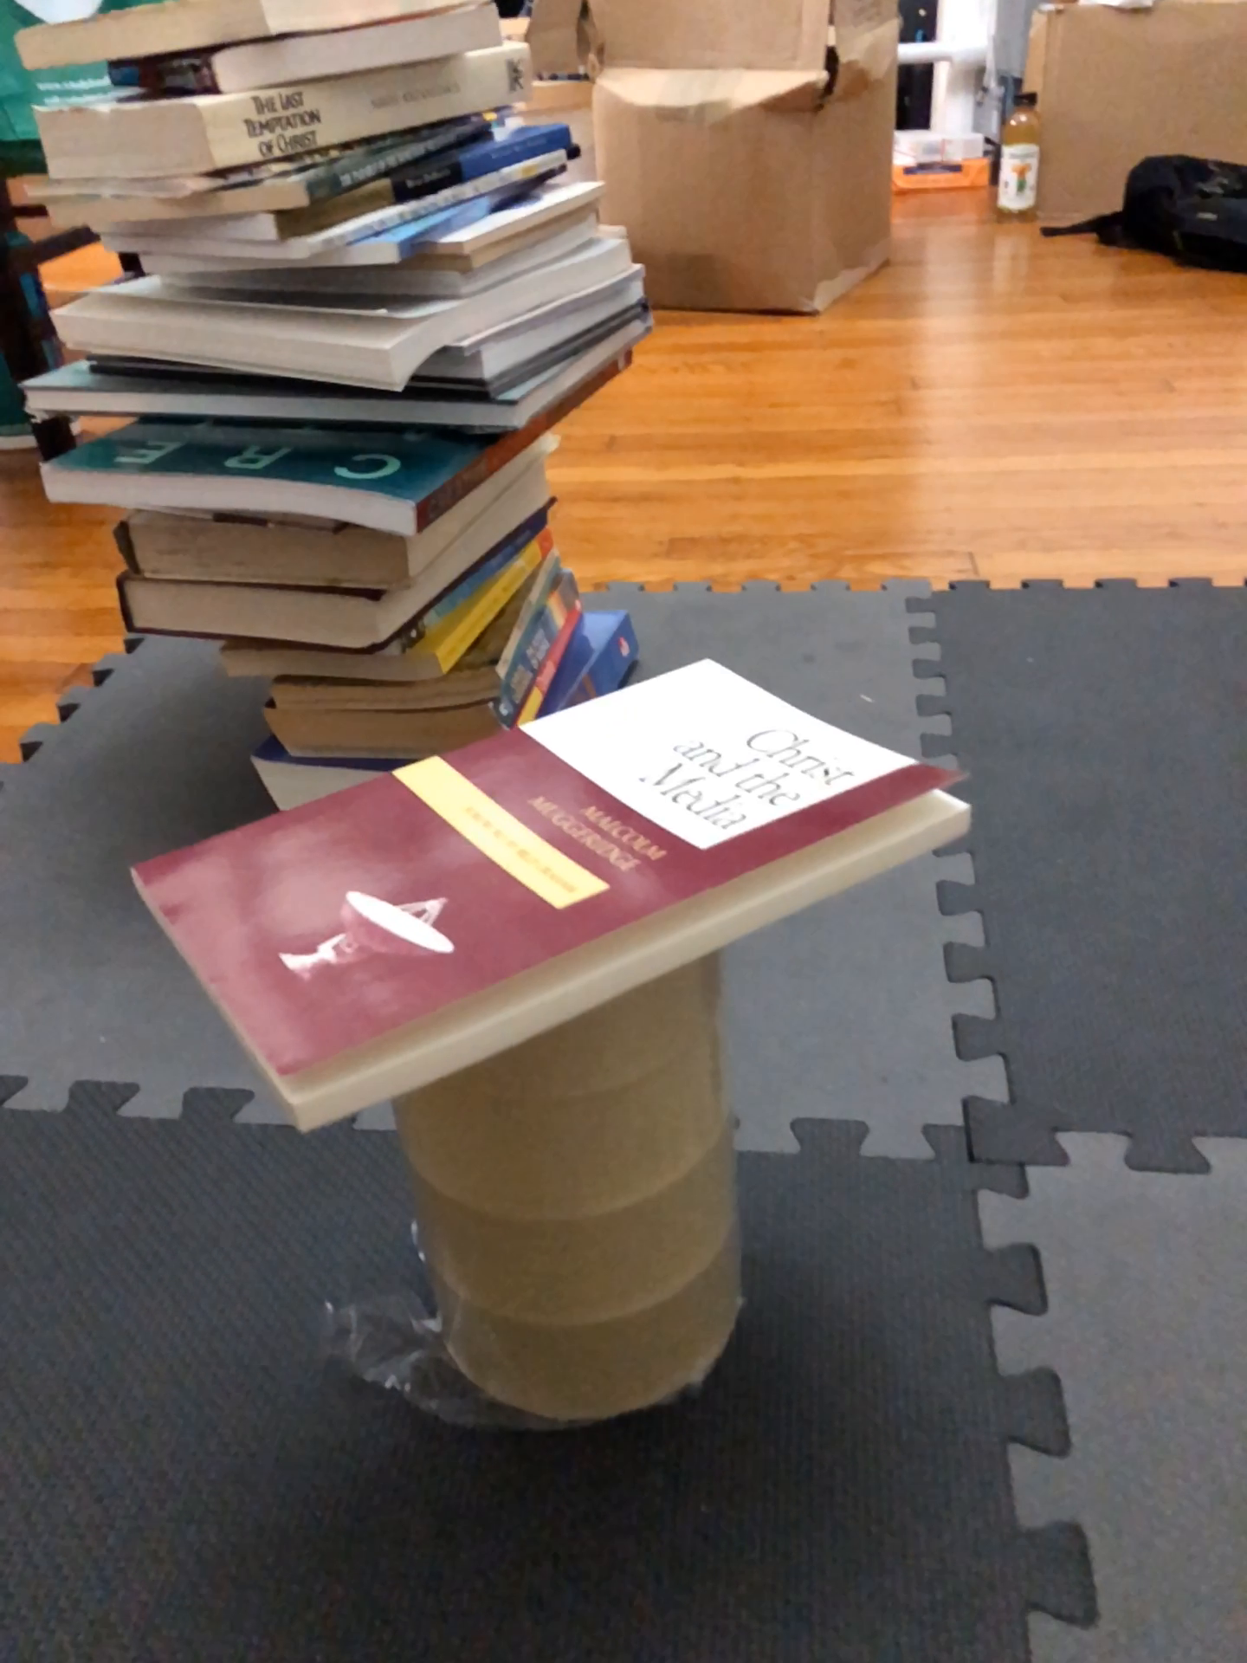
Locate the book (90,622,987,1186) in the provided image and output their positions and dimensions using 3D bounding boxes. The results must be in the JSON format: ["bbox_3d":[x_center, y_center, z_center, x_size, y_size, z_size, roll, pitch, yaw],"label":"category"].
[{"bbox_3d":[-0.024,0.001,0.387,0.210,0.020,0.141,-24,37,-26],"label":"book"}]
